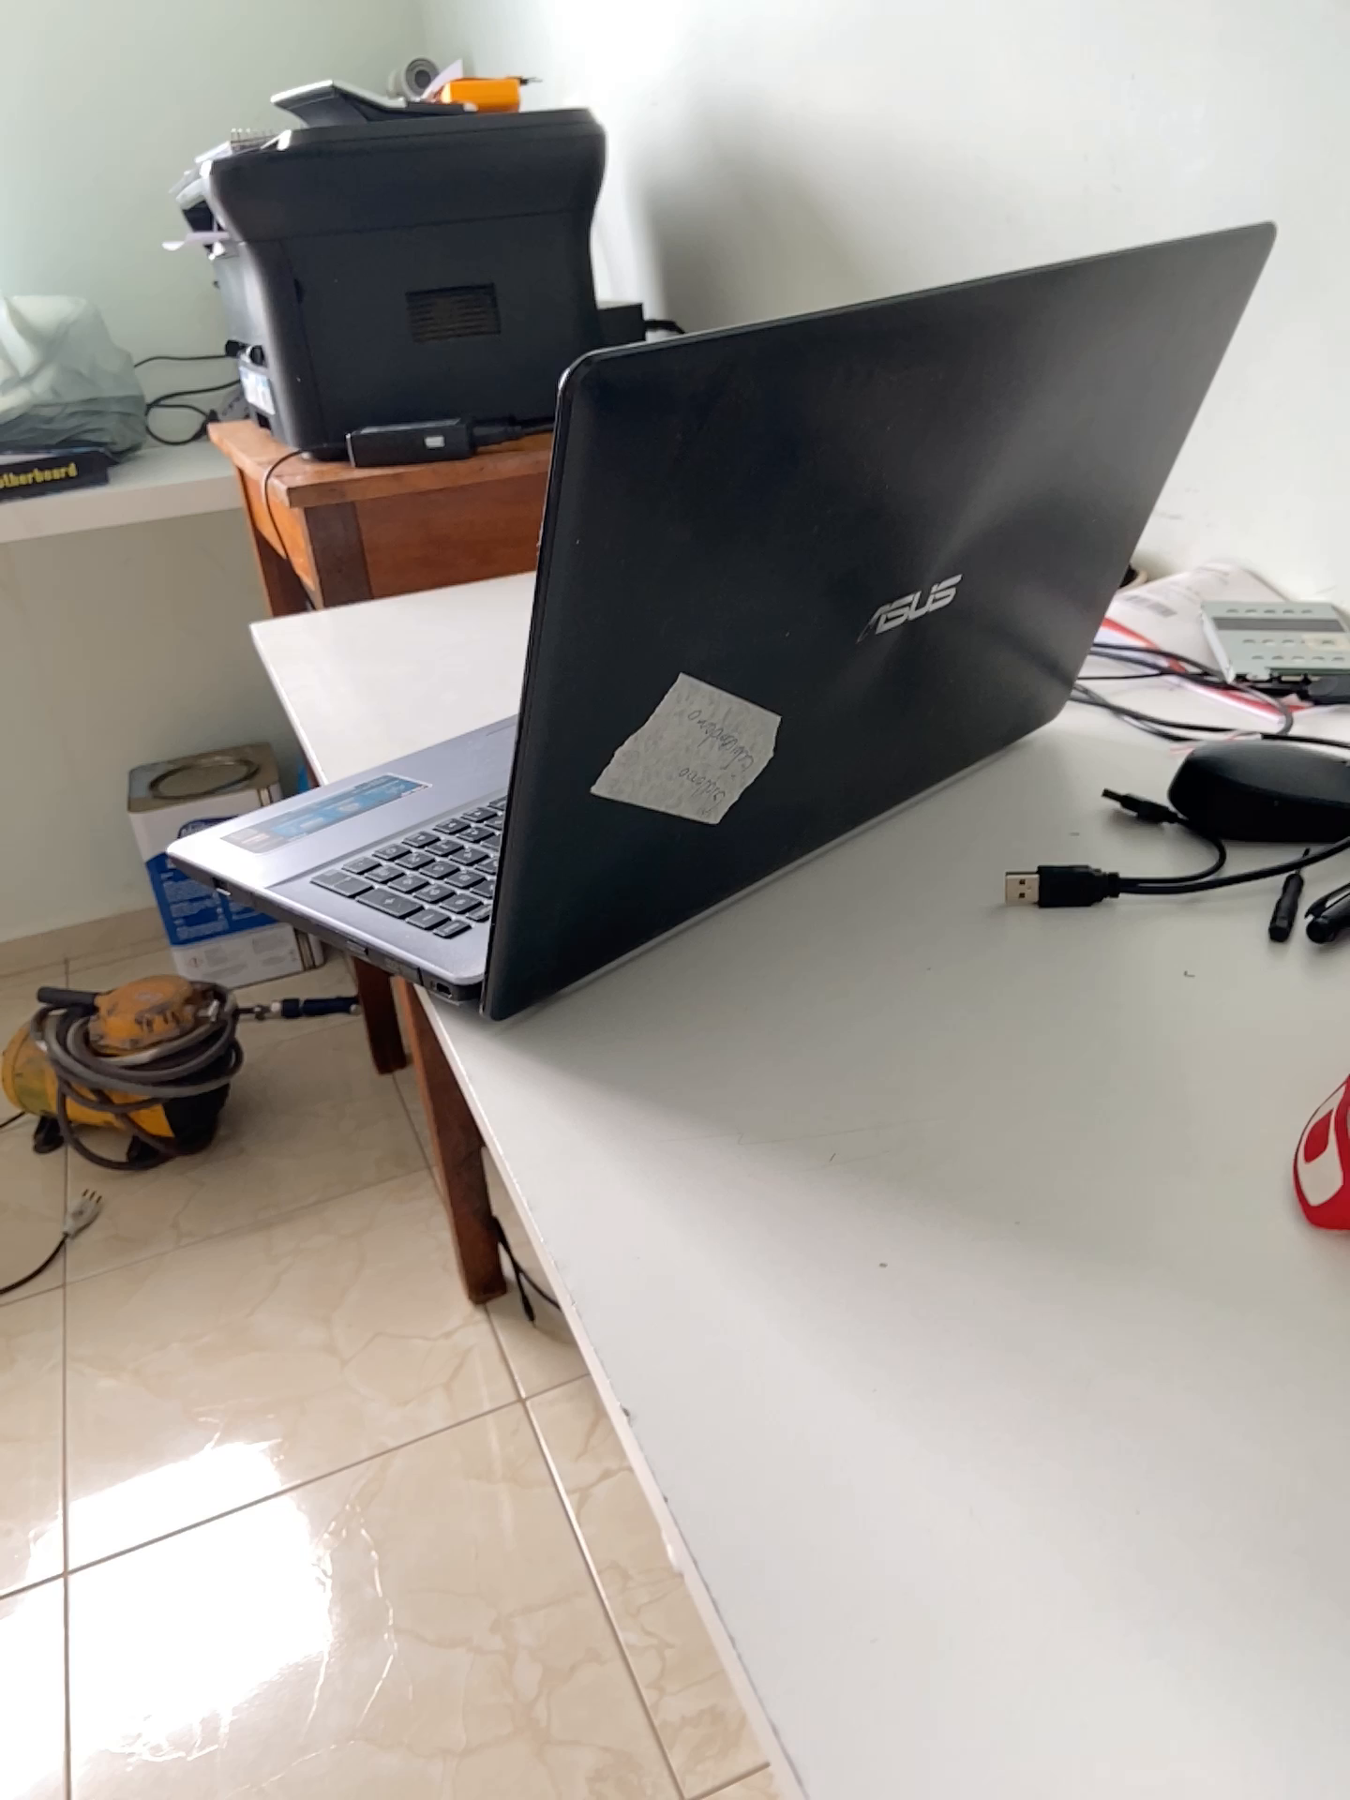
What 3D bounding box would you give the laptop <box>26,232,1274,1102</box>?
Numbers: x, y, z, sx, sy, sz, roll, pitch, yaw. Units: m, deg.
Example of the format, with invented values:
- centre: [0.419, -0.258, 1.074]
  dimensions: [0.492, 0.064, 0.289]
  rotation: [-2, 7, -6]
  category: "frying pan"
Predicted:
- centre: [-0.003, -0.147, 0.613]
  dimensions: [0.377, 0.213, 0.356]
  rotation: [-27, 32, -36]
  category: "laptop"
